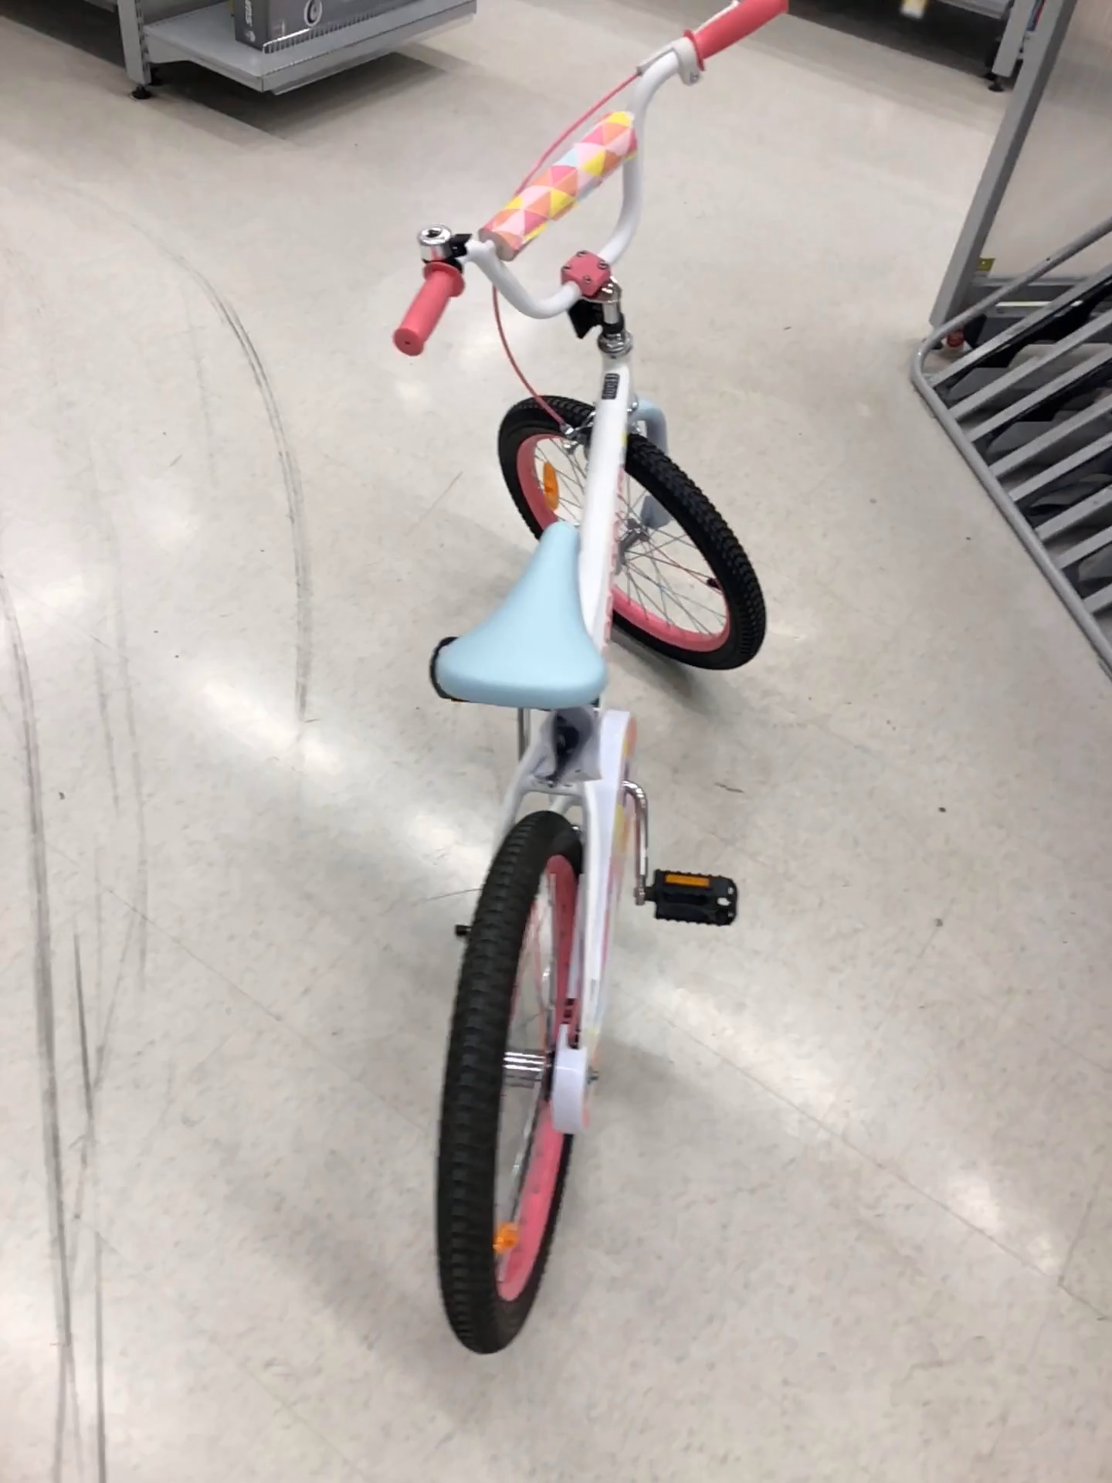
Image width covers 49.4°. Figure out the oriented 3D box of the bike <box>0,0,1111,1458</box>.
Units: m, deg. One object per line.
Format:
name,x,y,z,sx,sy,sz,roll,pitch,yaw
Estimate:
bike,-0.062,-0.112,1.272,0.631,0.961,1.259,6,46,-3
